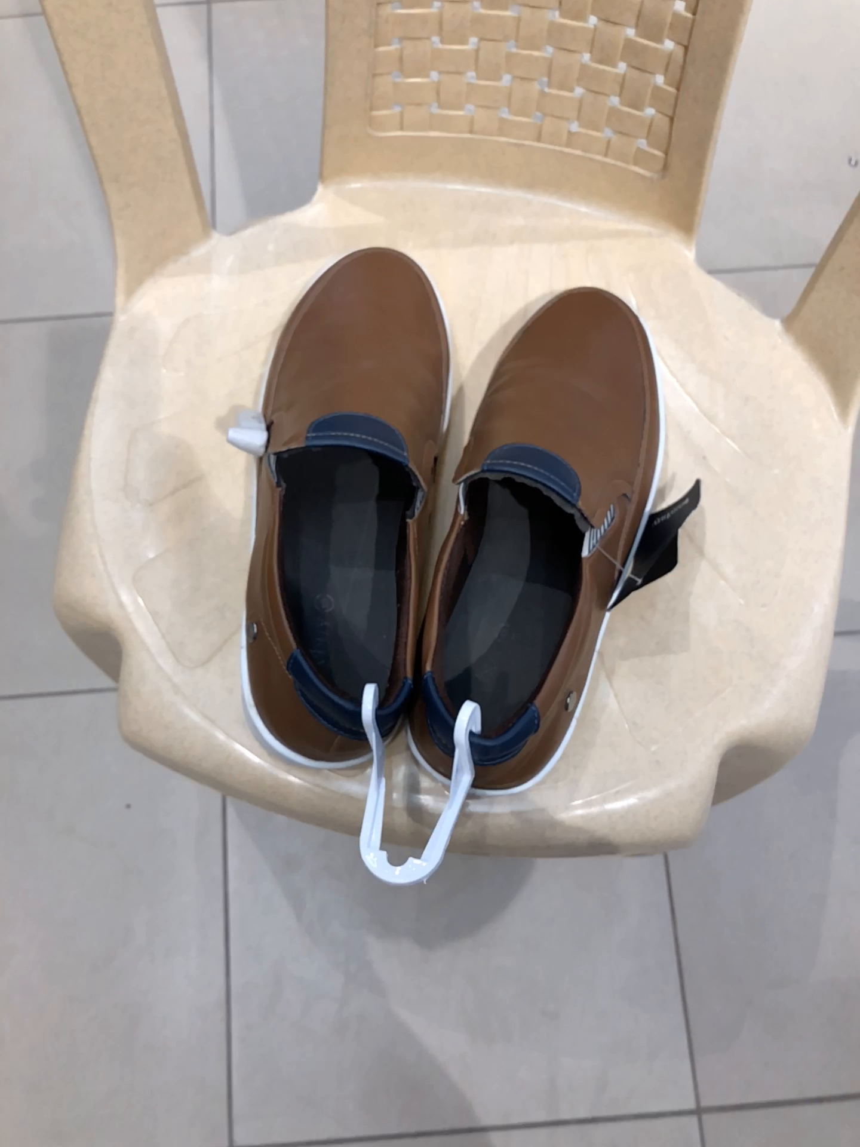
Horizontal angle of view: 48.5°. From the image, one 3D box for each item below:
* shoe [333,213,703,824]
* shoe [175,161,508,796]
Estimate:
[{"bbox_3d":[0.051,-0.029,0.474,0.104,0.099,0.271,12,72,11],"label":"shoe"},{"bbox_3d":[-0.039,-0.040,0.460,0.104,0.099,0.271,12,70,-22],"label":"shoe"}]
